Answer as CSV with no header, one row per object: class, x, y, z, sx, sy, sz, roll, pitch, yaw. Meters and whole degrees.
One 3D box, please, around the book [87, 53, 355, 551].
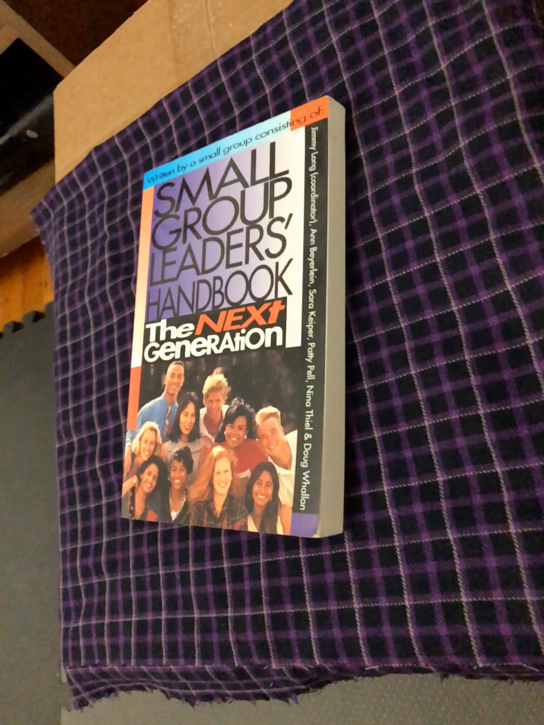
book,-0.030,-0.025,0.314,0.150,0.030,0.220,-7,76,38
